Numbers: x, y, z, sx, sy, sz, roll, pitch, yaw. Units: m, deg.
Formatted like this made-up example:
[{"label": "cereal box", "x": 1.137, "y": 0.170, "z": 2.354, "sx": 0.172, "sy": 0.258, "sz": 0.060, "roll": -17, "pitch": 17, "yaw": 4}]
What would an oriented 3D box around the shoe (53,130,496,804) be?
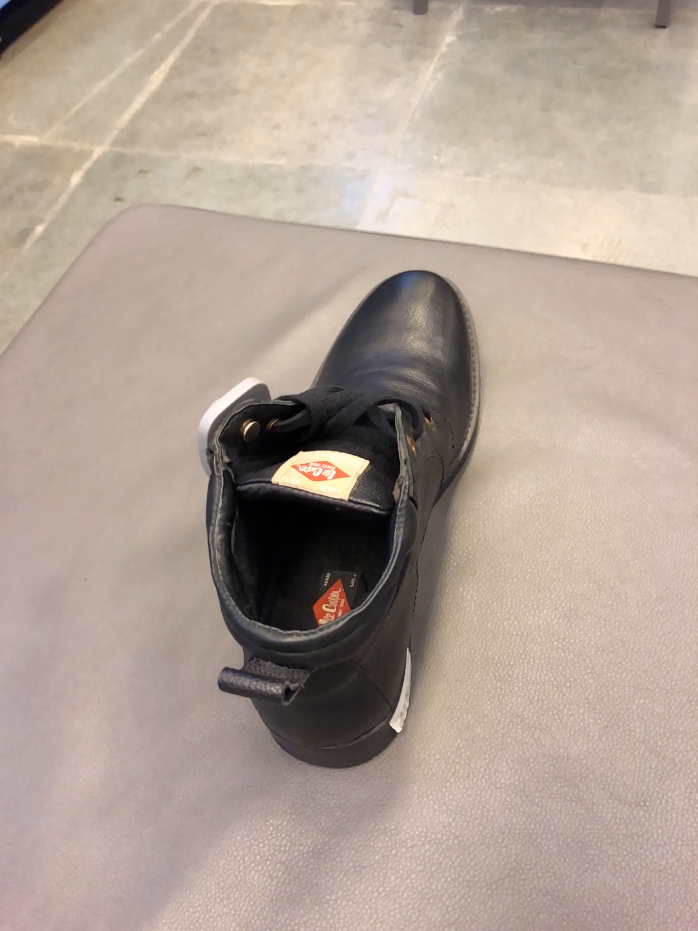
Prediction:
[{"label": "shoe", "x": -0.003, "y": -0.011, "z": 0.378, "sx": 0.111, "sy": 0.149, "sz": 0.285, "roll": 7, "pitch": 57, "yaw": 13}]
